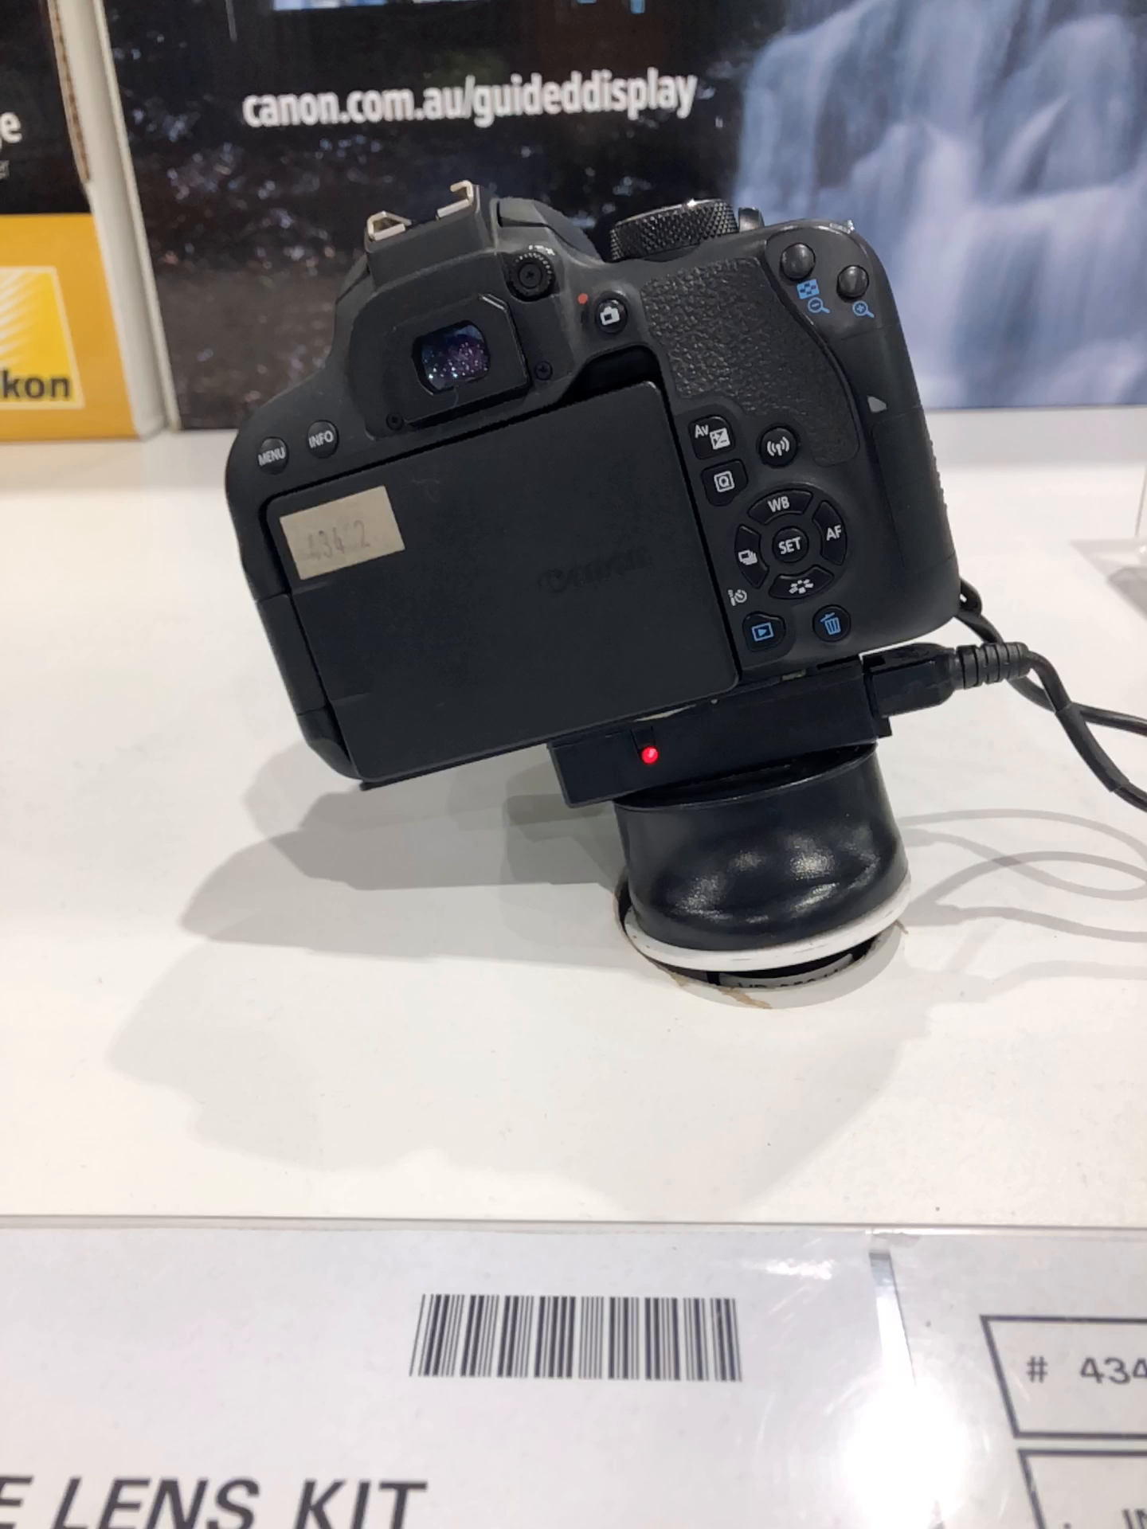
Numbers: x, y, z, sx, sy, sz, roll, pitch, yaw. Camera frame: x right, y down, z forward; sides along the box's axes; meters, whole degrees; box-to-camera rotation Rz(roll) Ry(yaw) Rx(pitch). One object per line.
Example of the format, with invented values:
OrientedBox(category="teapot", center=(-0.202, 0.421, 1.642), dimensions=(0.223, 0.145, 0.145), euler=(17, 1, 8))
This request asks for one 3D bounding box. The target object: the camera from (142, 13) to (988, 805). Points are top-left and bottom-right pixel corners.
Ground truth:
OrientedBox(category="camera", center=(0.002, -0.066, 0.267), dimensions=(0.130, 0.105, 0.070), euler=(-15, 10, 11))
